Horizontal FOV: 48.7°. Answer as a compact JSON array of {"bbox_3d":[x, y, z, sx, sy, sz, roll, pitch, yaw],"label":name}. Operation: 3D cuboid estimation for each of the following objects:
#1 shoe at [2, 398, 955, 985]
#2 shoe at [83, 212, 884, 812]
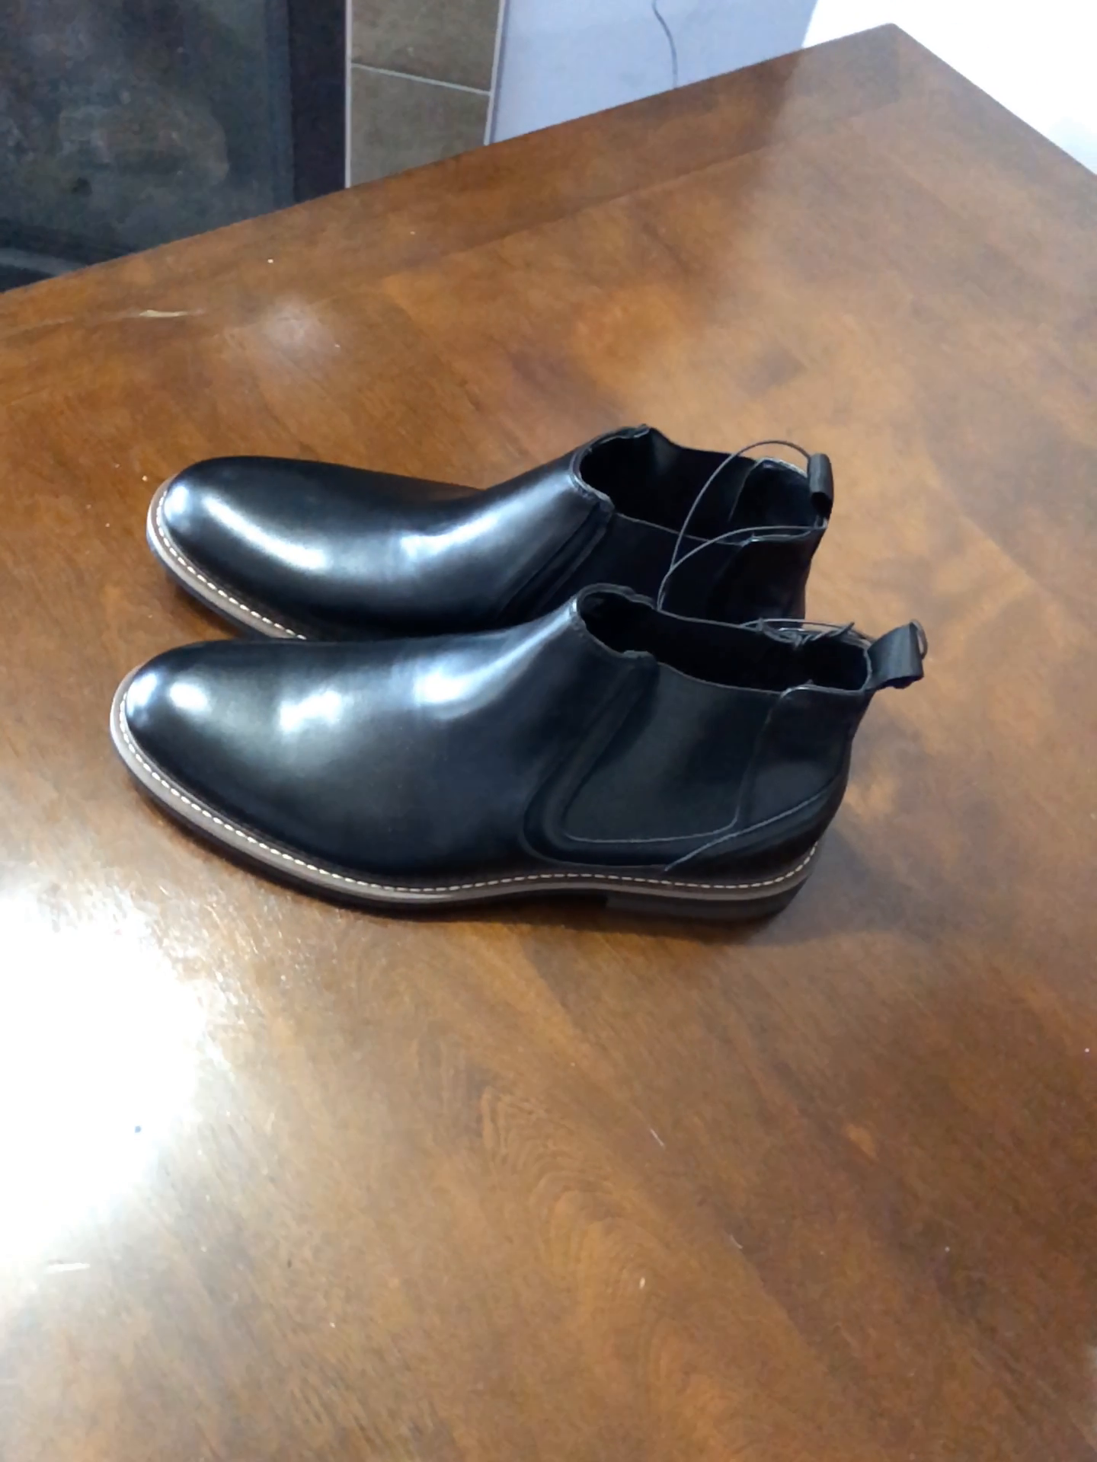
[{"bbox_3d":[-0.025,-0.003,0.482,0.300,0.170,0.120,8,57,-5],"label":"shoe"},{"bbox_3d":[-0.026,-0.089,0.551,0.300,0.170,0.120,14,57,-2],"label":"shoe"}]
